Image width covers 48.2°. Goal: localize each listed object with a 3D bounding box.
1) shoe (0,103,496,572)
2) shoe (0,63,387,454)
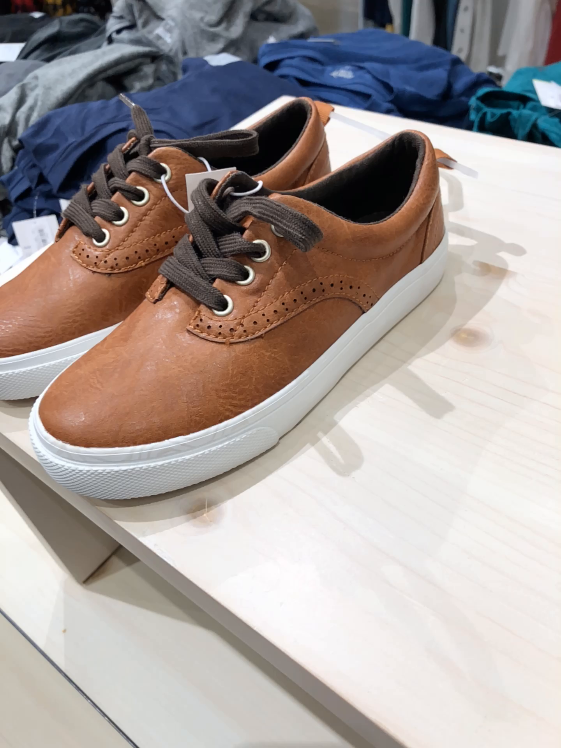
[{"bbox_3d":[-0.016,-0.031,0.272,0.210,0.080,0.090,-34,49,-23],"label":"shoe"},{"bbox_3d":[-0.059,-0.071,0.325,0.220,0.090,0.090,-30,48,-20],"label":"shoe"}]
